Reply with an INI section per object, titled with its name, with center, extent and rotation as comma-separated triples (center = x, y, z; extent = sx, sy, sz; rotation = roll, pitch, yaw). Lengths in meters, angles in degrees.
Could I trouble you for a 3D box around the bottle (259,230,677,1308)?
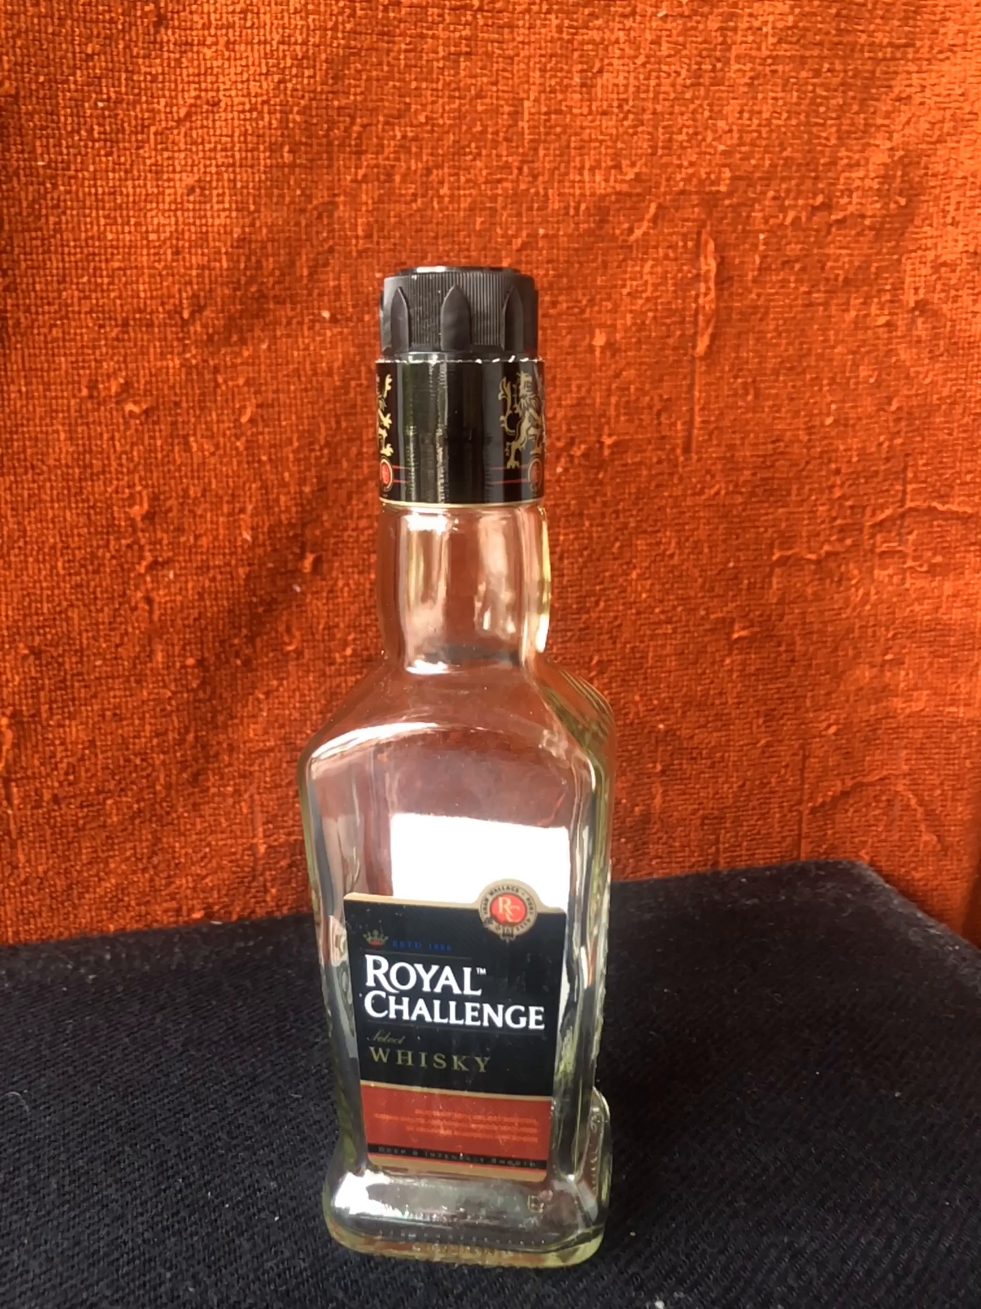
[bottle]
center = -0.004, 0.026, 0.204
extent = 0.060, 0.189, 0.050
rotation = 3, 14, 6
